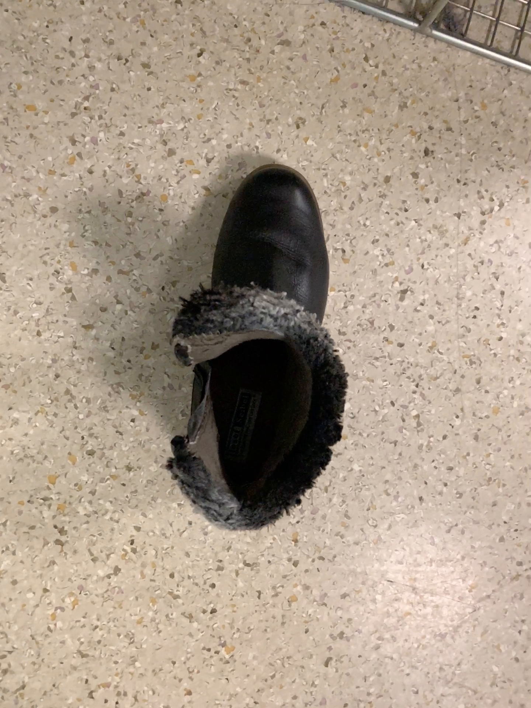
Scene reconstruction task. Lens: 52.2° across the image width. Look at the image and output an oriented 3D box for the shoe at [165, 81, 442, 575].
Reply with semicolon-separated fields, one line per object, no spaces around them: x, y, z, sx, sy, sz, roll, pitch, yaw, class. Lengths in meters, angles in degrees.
0.009;-0.012;0.359;0.104;0.169;0.236;10;89;-8;shoe
